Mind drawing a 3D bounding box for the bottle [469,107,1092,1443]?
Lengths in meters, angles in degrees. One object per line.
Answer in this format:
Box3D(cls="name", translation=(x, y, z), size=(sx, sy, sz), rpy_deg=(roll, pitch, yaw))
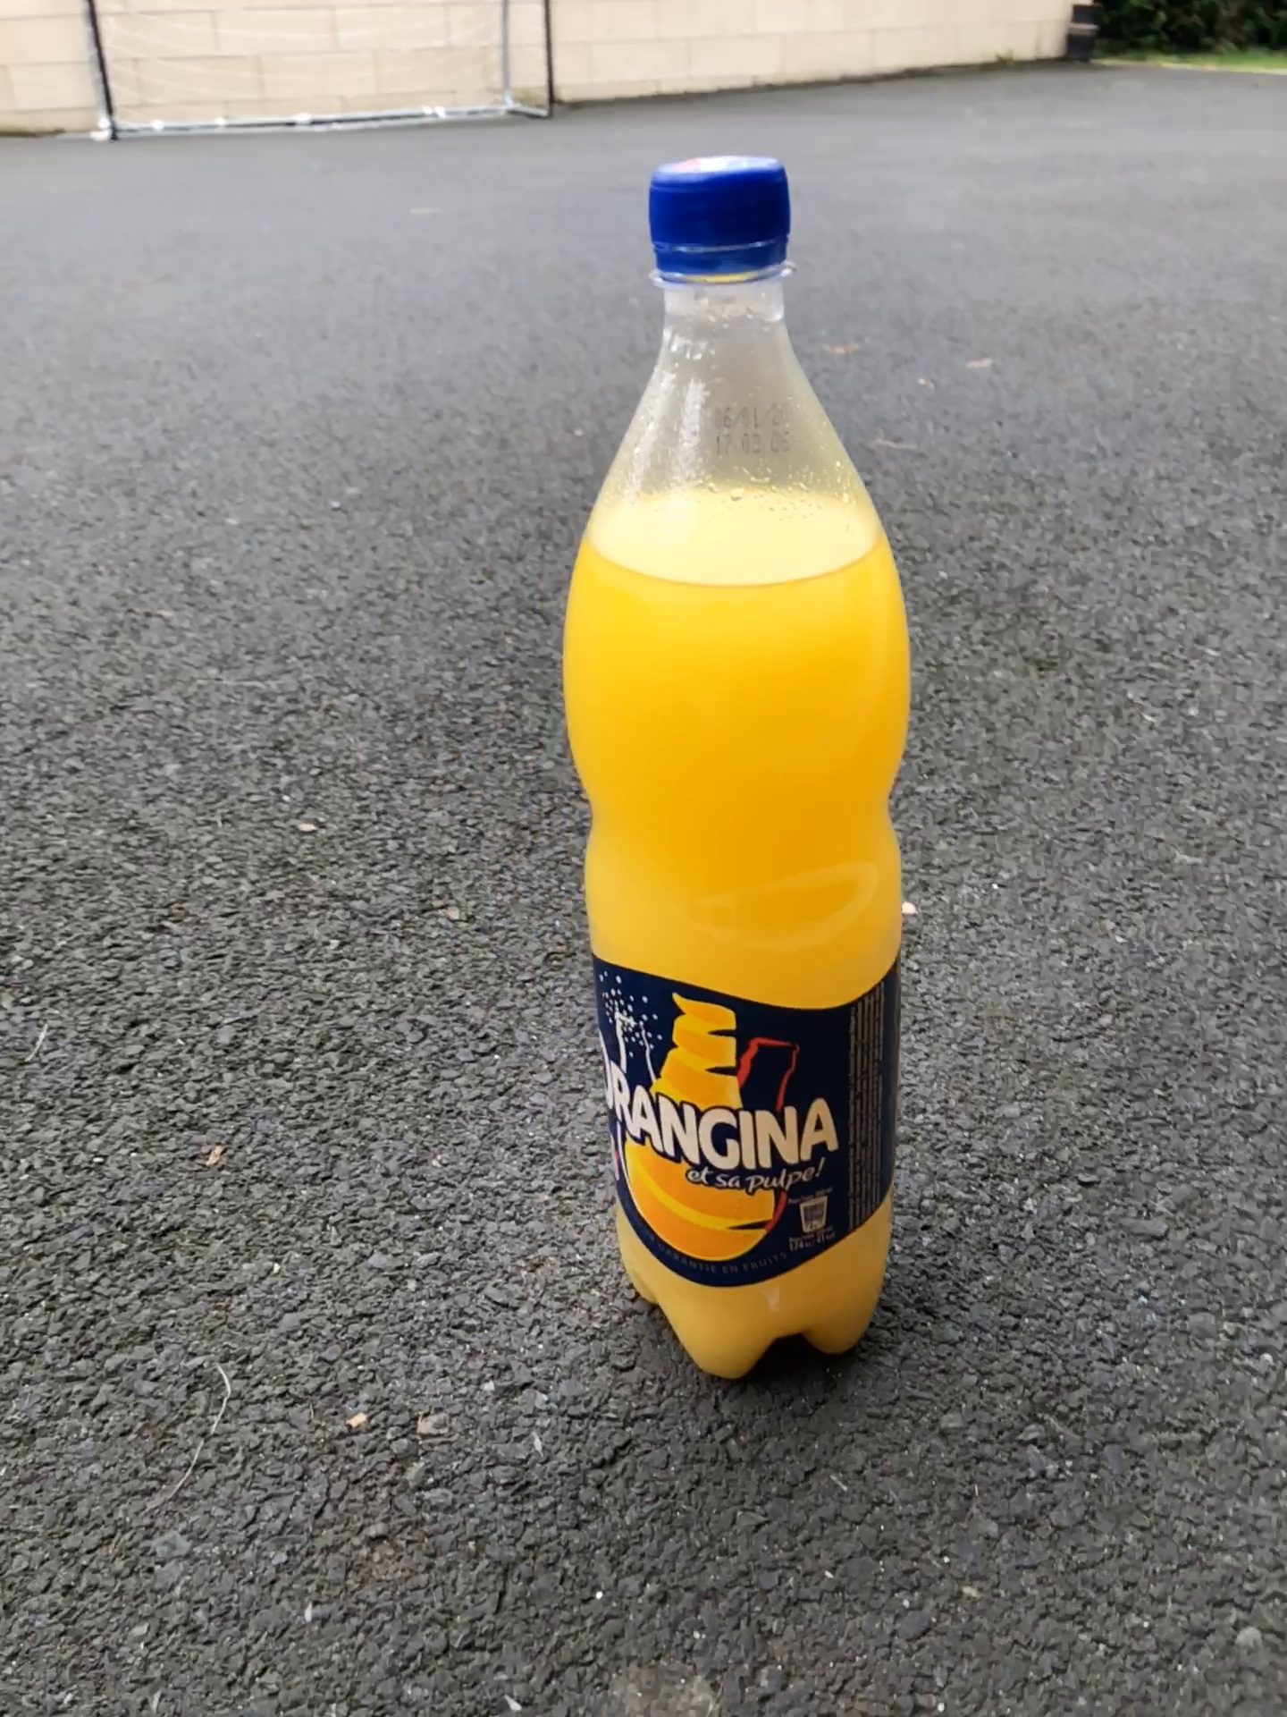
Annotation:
Box3D(cls="bottle", translation=(0.036, -0.007, 0.383), size=(0.100, 0.338, 0.101), rpy_deg=(-1, 32, 1))
